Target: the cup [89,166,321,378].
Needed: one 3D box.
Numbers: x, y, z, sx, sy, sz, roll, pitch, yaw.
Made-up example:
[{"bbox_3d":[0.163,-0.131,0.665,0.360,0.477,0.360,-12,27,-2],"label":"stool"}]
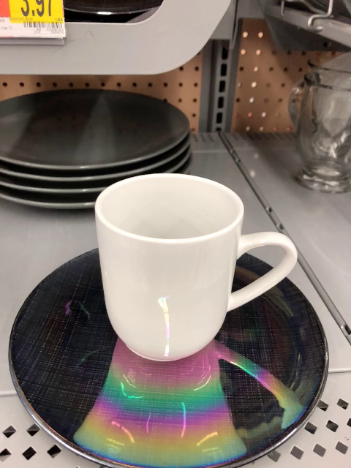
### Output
[{"bbox_3d":[0.009,0.020,0.246,0.113,0.098,0.078,-3,32,-7],"label":"cup"}]
